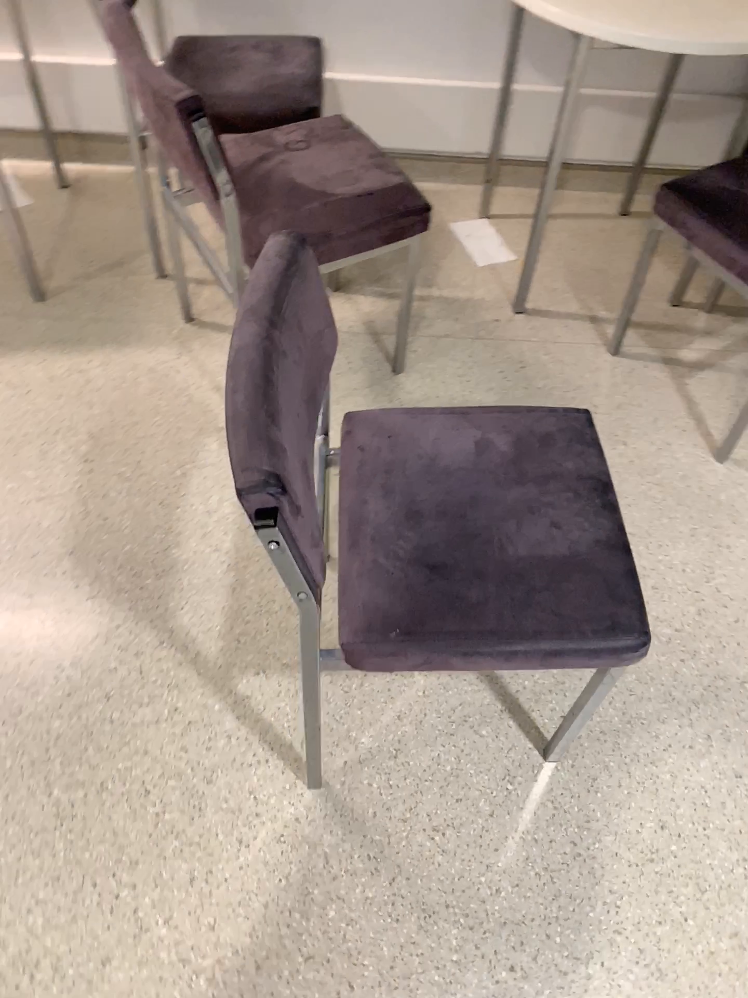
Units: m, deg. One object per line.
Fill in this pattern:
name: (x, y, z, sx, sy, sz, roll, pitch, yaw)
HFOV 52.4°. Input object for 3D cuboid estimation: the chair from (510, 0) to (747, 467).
chair: (0.759, -0.561, 1.379, 0.742, 0.615, 0.513, -23, 59, -21)

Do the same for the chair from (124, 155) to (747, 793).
chair: (0.122, -0.034, 1.031, 0.680, 0.506, 0.686, 1, 51, -3)

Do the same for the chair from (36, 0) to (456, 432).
chair: (-0.242, -0.680, 1.559, 0.511, 0.615, 0.745, -23, 56, -11)
